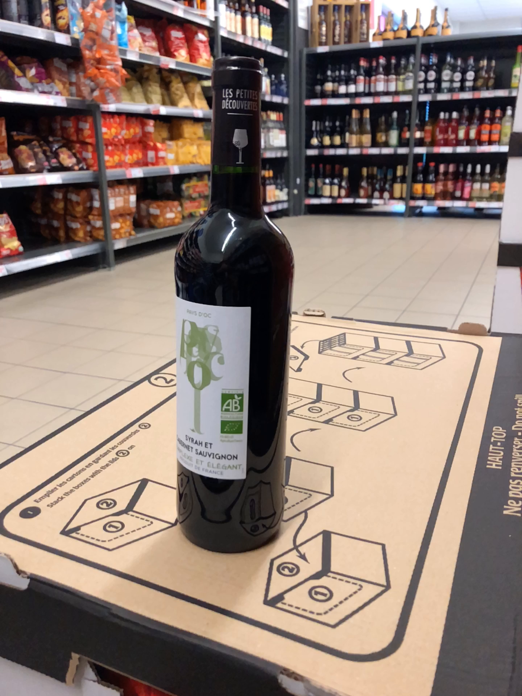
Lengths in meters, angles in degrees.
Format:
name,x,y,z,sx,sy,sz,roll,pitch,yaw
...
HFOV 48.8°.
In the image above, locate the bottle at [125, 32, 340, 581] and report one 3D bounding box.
name,x,y,z,sx,sy,sz,roll,pitch,yaw
bottle,-0.015,-0.019,0.362,0.090,0.299,0.080,11,19,32
